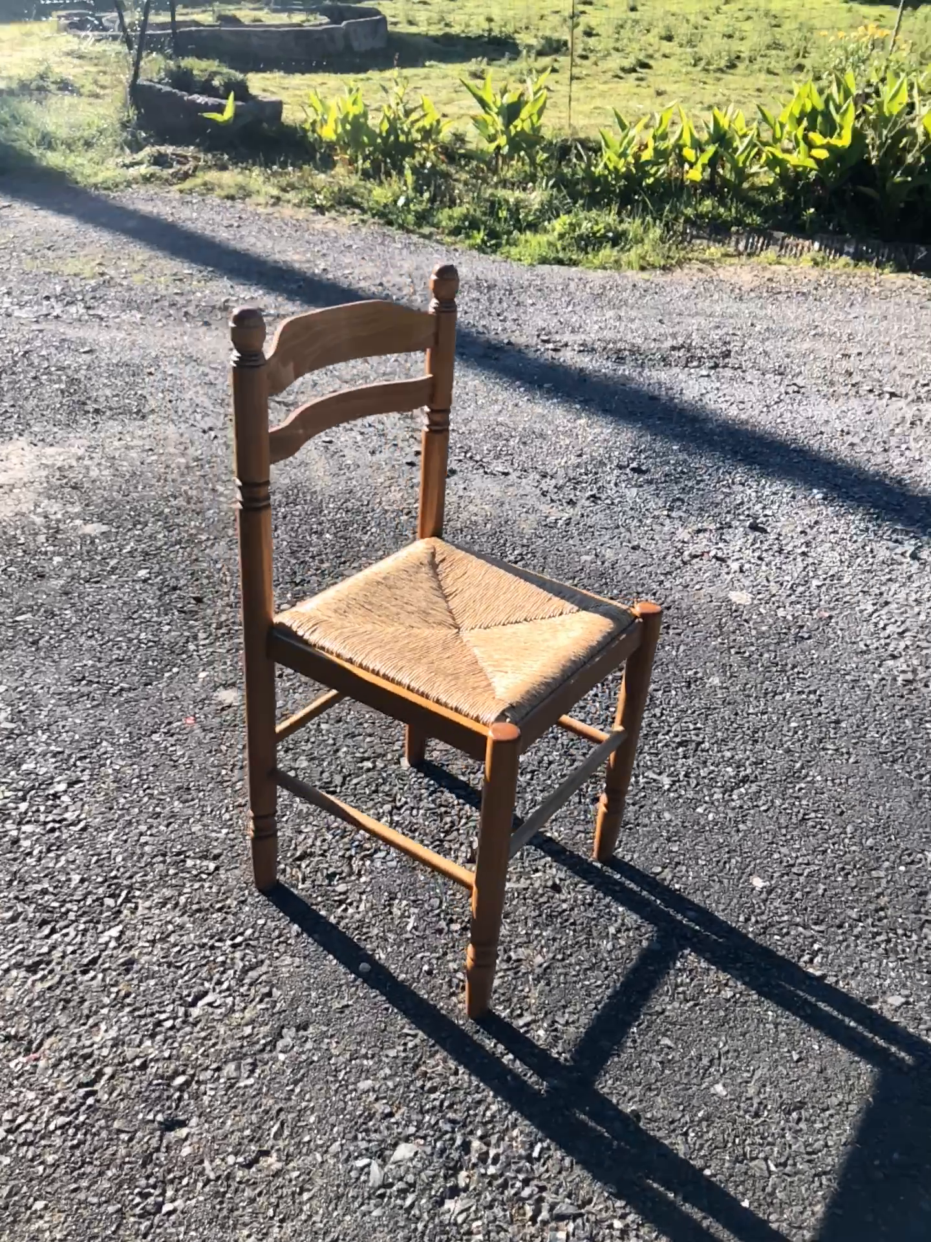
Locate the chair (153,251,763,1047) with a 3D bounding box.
[{"bbox_3d":[-0.004,-0.004,1.333,0.490,0.795,0.493,20,34,29],"label":"chair"}]
